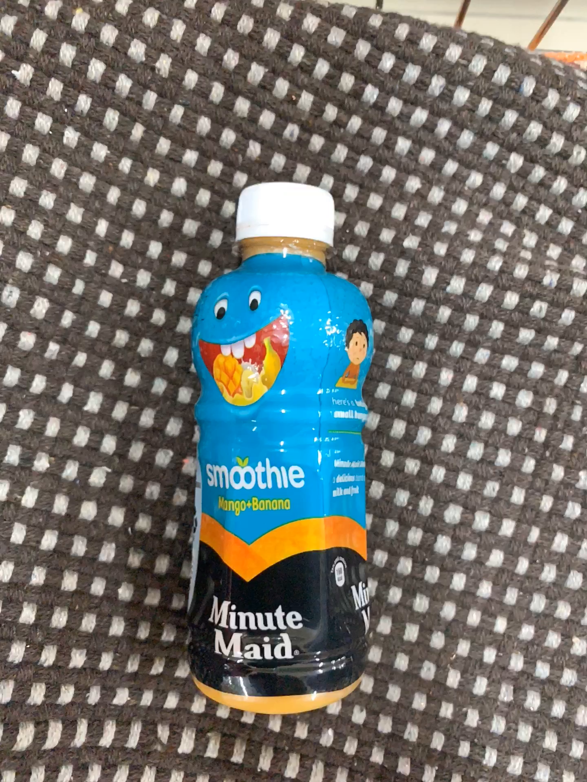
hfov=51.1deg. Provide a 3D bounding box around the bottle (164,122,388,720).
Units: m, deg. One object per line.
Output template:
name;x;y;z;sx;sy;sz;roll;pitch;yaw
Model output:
bottle;-0.006;0.008;0.187;0.060;0.040;0.160;0;90;-6
